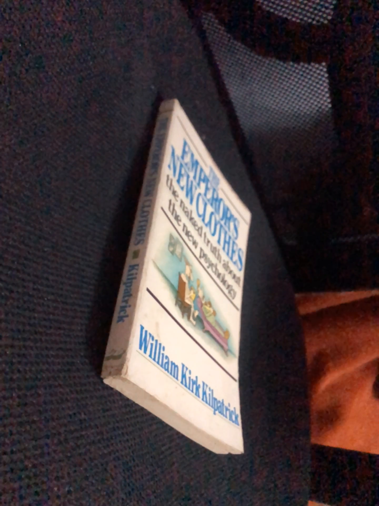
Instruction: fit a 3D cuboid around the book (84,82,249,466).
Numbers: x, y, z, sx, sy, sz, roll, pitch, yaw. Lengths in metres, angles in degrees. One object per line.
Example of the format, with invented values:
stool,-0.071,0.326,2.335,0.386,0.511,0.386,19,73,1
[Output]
book,0.006,0.007,0.301,0.145,0.020,0.230,52,34,-43
